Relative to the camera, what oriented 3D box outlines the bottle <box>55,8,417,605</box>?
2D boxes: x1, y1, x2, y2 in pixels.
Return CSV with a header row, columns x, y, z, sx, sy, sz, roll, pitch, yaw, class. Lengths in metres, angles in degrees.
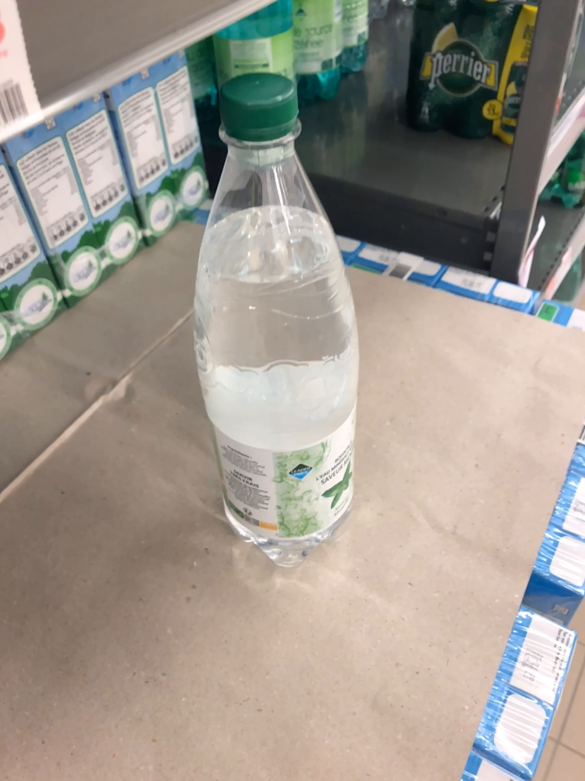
x,y,z,sx,sy,sz,roll,pitch,yaw,class
-0.009,-0.016,0.345,0.090,0.298,0.101,25,53,25,bottle
